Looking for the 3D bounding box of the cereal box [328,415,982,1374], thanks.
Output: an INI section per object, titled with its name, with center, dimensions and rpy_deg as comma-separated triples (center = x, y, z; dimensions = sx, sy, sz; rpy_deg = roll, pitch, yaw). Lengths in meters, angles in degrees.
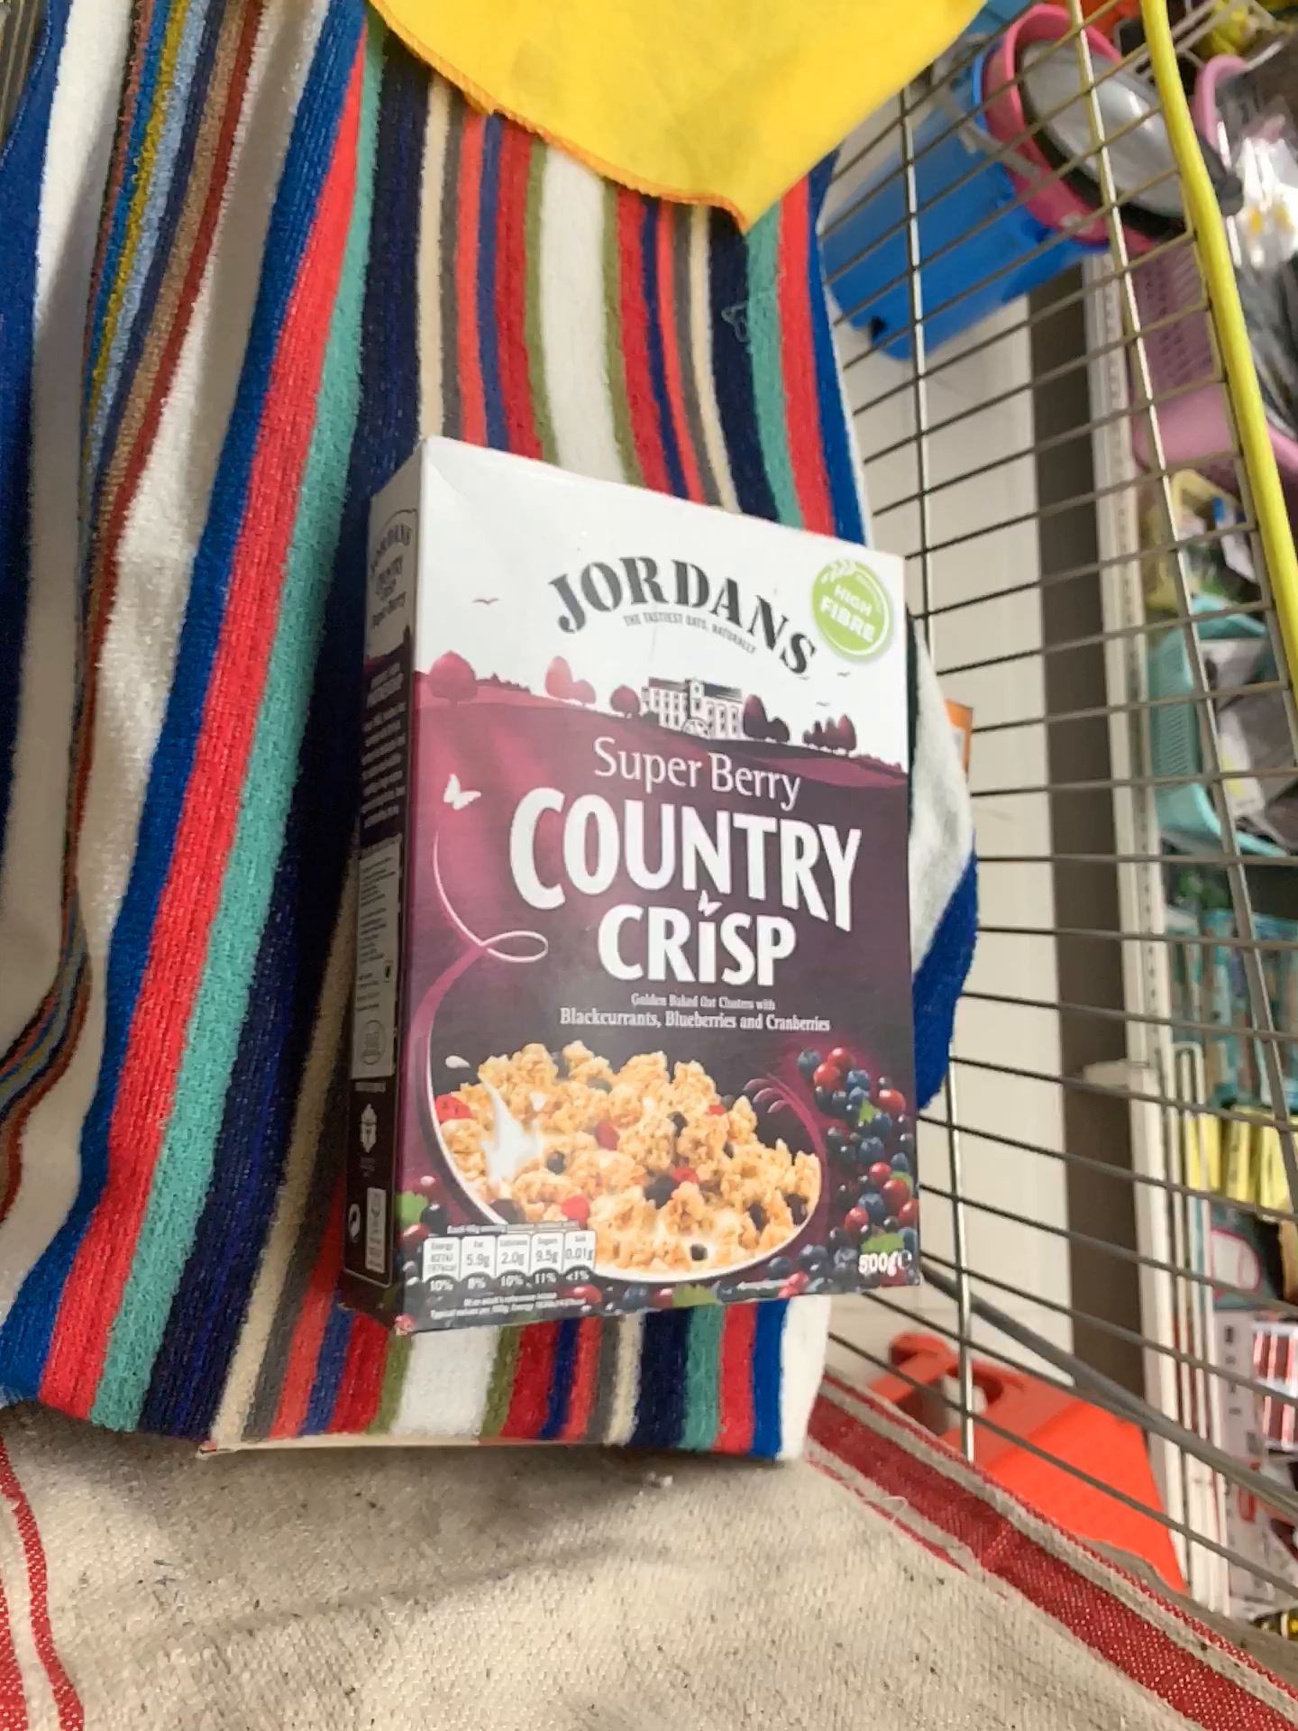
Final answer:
[cereal box]
center = 0.006, 0.011, 0.401
dimensions = 0.181, 0.060, 0.240
rpy_deg = 5, 79, -29
